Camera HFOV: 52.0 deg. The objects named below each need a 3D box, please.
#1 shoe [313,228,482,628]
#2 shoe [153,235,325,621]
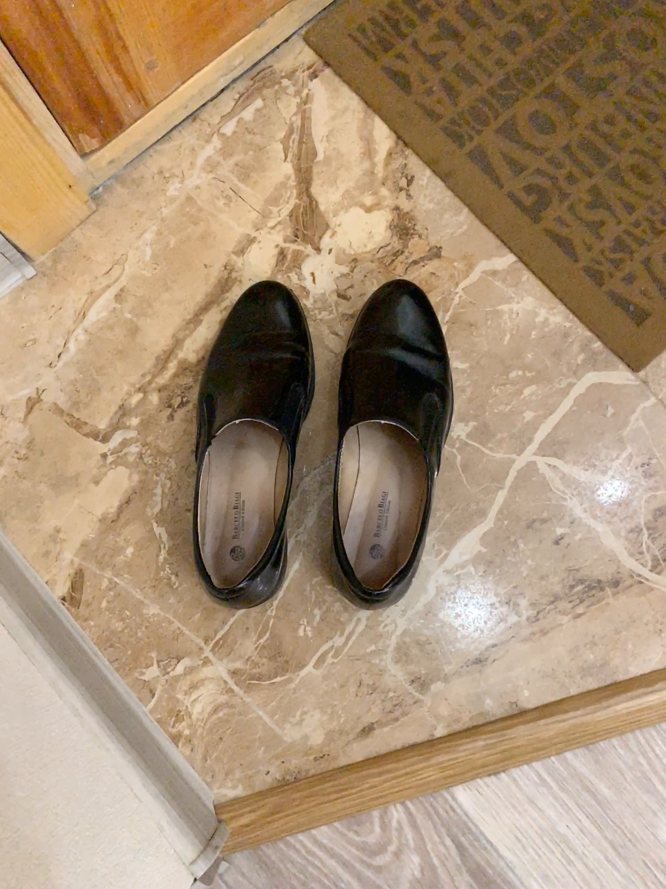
[{"bbox_3d":[0.046,-0.009,0.498,0.090,0.100,0.260,5,81,2],"label":"shoe"},{"bbox_3d":[-0.062,-0.009,0.511,0.090,0.100,0.260,4,81,2],"label":"shoe"}]
